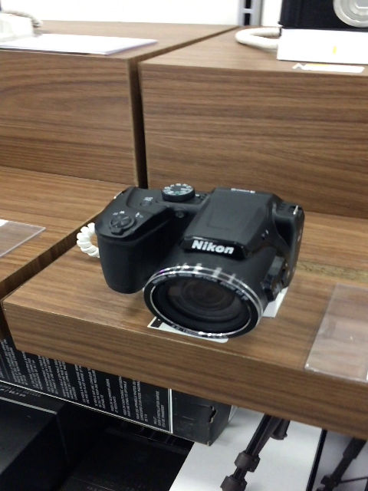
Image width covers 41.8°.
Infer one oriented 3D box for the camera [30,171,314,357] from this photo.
[{"bbox_3d":[-0.001,0.005,0.308,0.133,0.063,0.098,11,34,17],"label":"camera"}]
